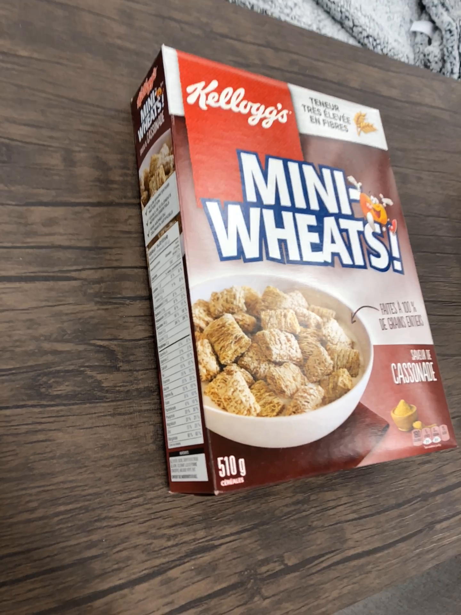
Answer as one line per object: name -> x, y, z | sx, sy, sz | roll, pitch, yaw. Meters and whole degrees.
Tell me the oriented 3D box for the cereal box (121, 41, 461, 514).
cereal box -> 0.048, -0.020, 0.343 | 0.211, 0.060, 0.260 | 1, 73, -31
